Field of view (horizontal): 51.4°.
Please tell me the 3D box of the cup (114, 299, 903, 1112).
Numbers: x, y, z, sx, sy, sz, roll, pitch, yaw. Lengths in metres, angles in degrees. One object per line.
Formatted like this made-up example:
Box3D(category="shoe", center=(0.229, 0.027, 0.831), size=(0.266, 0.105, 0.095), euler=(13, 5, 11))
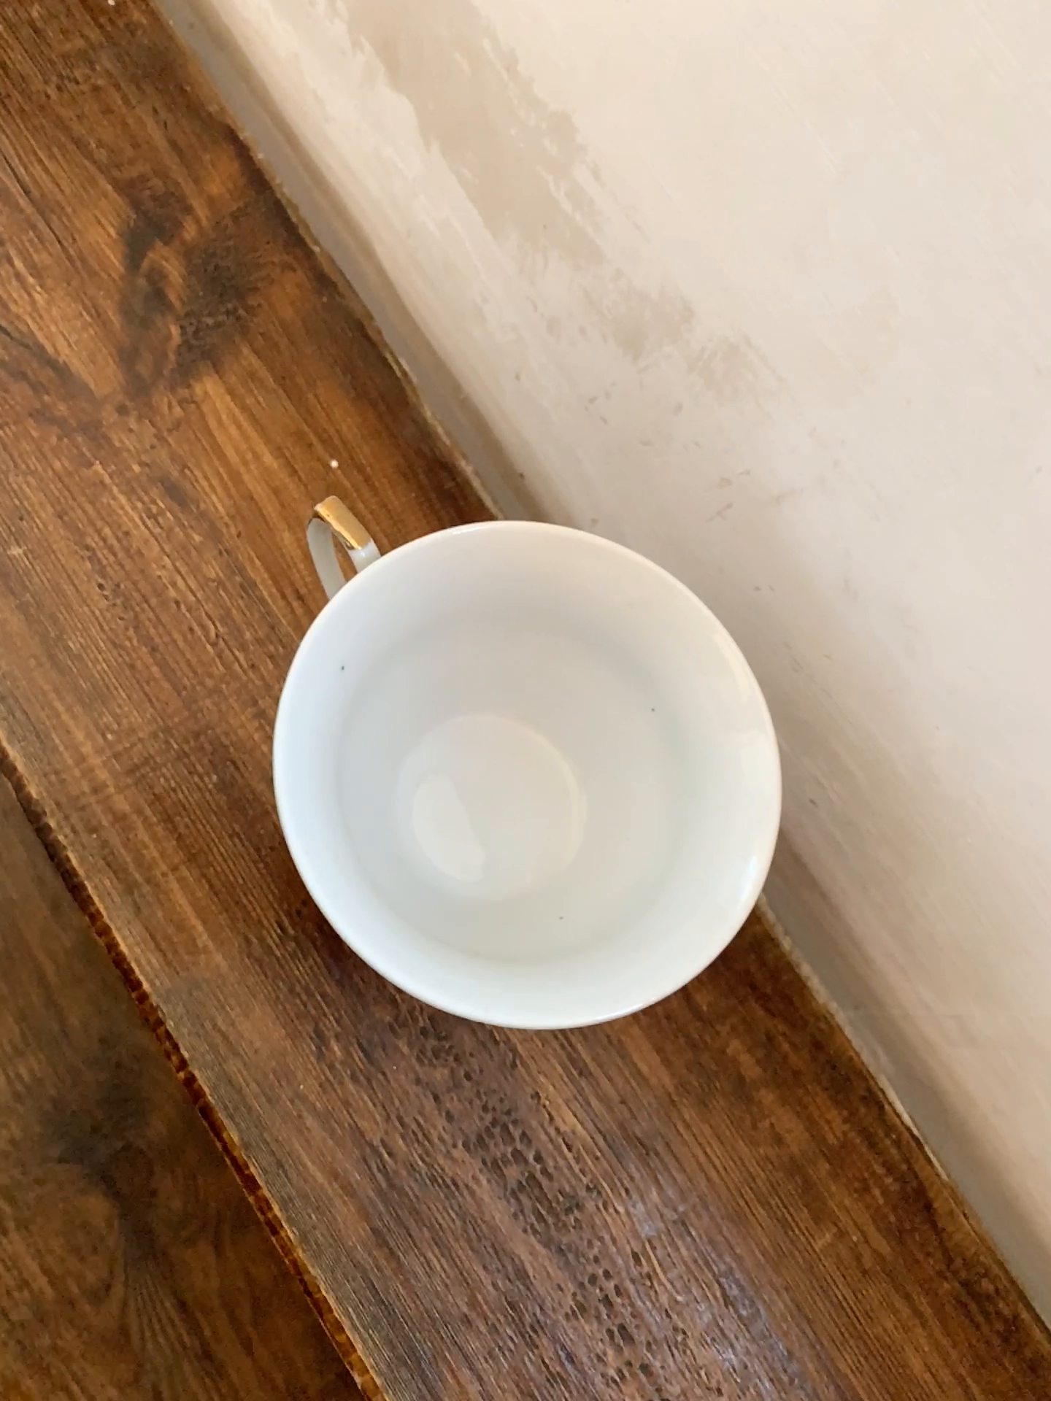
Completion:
Box3D(category="cup", center=(-0.006, 0.001, 0.224), size=(0.091, 0.058, 0.123), euler=(-32, 83, -20))
